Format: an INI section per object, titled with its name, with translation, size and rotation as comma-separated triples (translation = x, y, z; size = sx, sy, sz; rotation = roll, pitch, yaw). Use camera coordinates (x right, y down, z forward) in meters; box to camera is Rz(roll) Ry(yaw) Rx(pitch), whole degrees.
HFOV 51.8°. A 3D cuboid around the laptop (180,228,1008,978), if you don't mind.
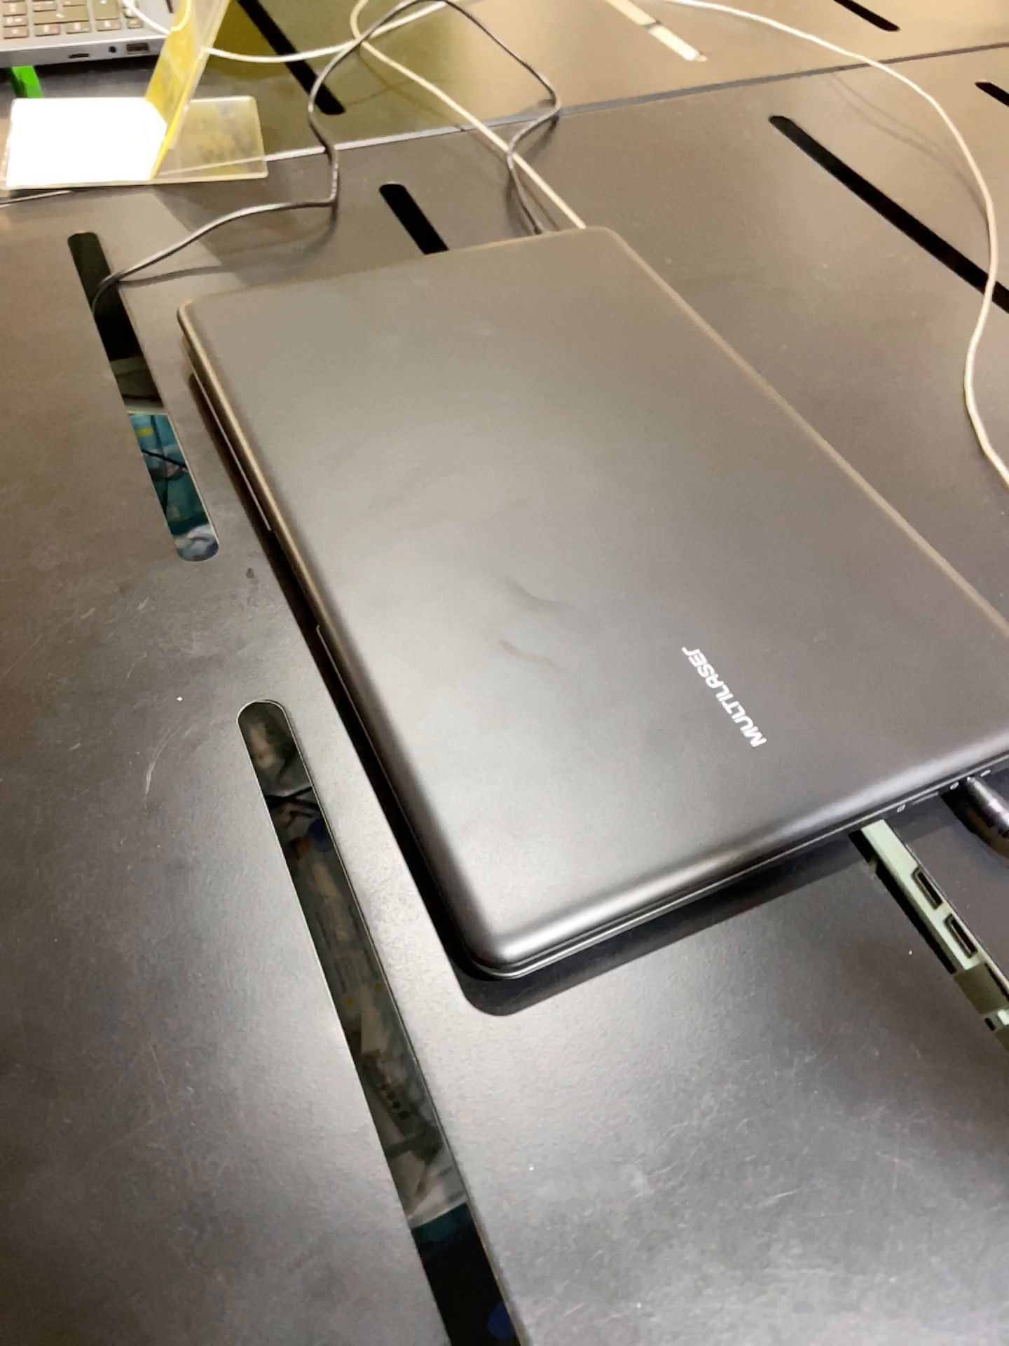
[laptop]
translation = 0.023, -0.070, 0.394
size = 0.211, 0.001, 0.325
rotation = -19, 55, -17
